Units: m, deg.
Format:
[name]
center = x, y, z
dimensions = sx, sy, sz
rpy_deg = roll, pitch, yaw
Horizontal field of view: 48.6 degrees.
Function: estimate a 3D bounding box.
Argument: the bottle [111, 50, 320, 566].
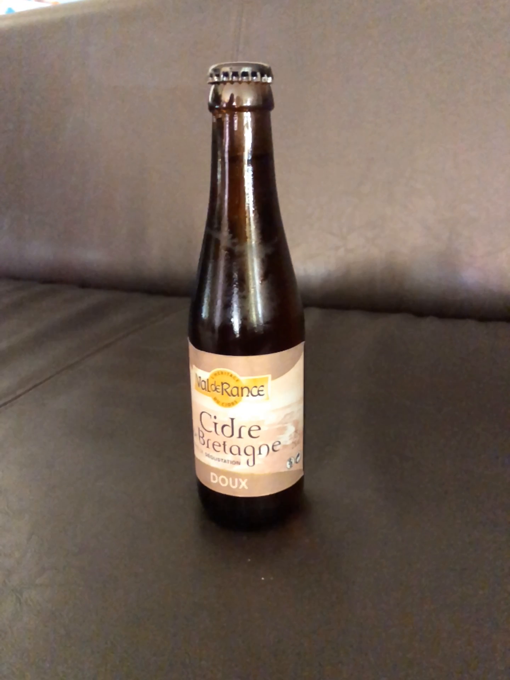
[bottle]
center = -0.010, -0.010, 0.260
dimensions = 0.060, 0.209, 0.060
rpy_deg = -2, 18, 1
